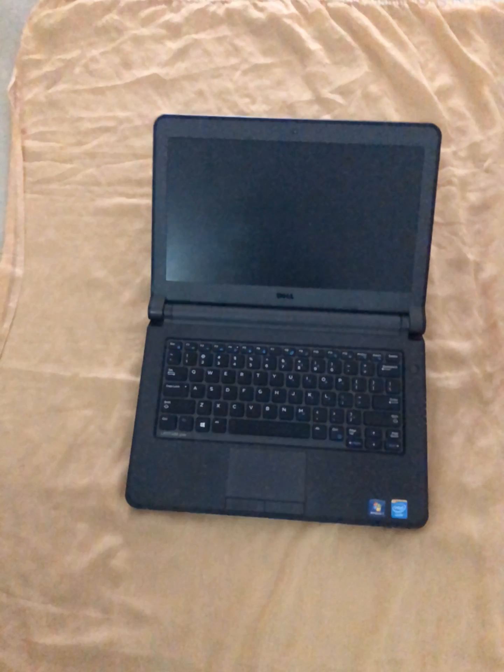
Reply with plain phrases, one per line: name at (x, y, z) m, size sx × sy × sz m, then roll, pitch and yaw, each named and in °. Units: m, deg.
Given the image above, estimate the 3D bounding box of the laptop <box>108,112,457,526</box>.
laptop at (0.040, -0.025, 0.589) m, size 0.308 × 0.092 × 0.409 m, roll 3°, pitch 74°, yaw 2°
